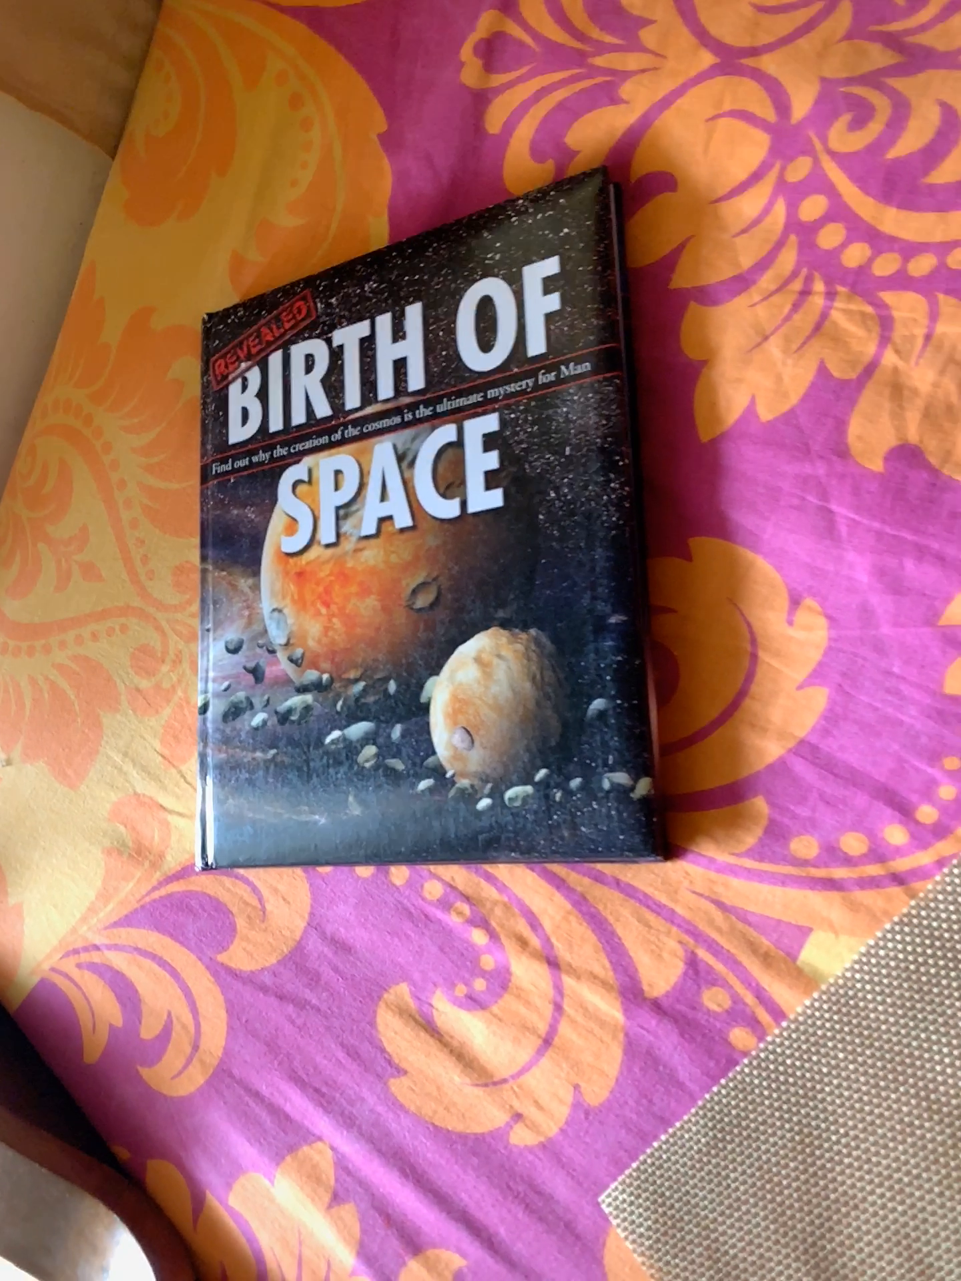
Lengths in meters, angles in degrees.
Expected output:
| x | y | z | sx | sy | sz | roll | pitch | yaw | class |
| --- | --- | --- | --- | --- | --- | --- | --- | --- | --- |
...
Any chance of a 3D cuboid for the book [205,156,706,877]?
| x | y | z | sx | sy | sz | roll | pitch | yaw | class |
| --- | --- | --- | --- | --- | --- | --- | --- | --- | --- |
| -0.026 | -0.038 | 0.399 | 0.212 | 0.020 | 0.258 | -8 | 79 | 29 | book |
